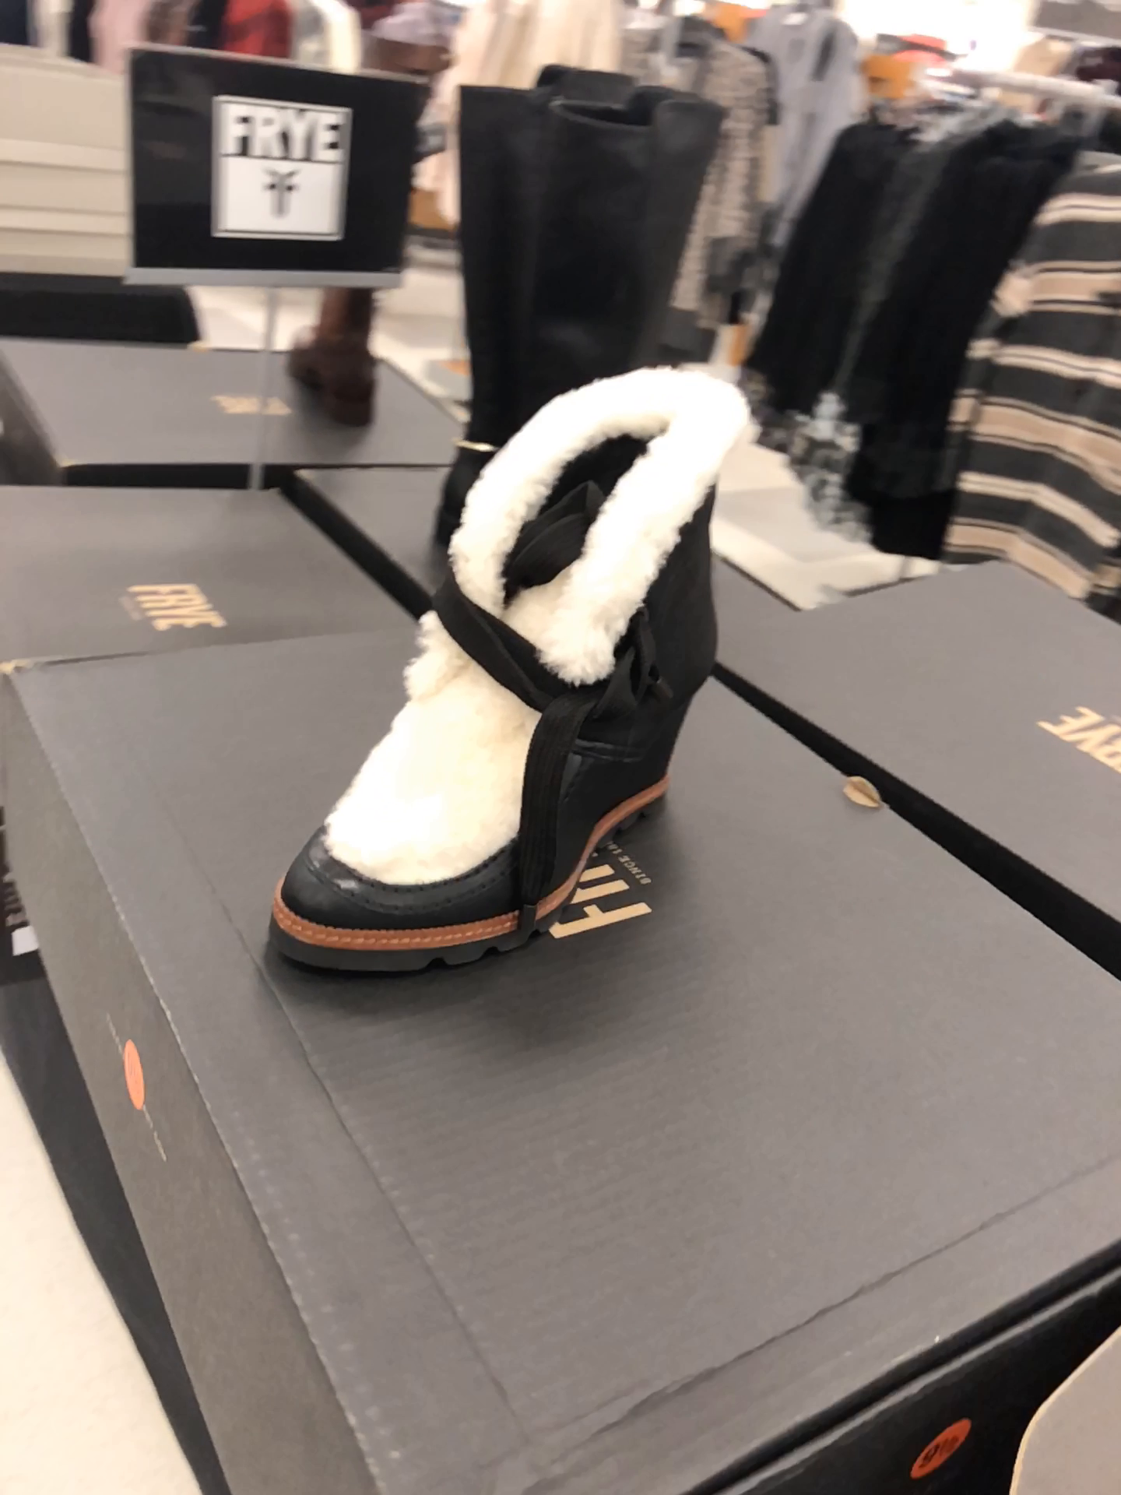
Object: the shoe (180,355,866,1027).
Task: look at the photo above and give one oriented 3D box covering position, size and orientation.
[{"bbox_3d":[-0.014,-0.040,0.507,0.248,0.207,0.101,-17,39,-42],"label":"shoe"}]
